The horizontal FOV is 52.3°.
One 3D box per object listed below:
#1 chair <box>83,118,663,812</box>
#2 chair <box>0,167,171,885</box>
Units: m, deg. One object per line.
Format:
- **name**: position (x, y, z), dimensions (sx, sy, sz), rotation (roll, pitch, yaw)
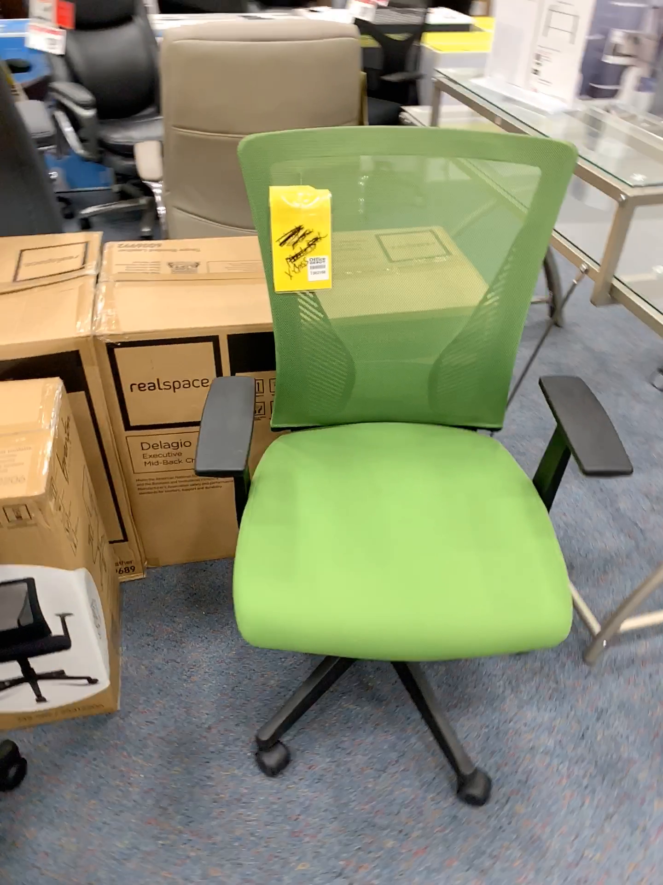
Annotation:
- **chair**: position (0.114, 0.064, 1.067), dimensions (0.644, 0.912, 0.600), rotation (1, 39, -1)
- **chair**: position (-0.599, 0.354, 0.633), dimensions (0.644, 0.972, 0.661), rotation (1, 39, -1)
